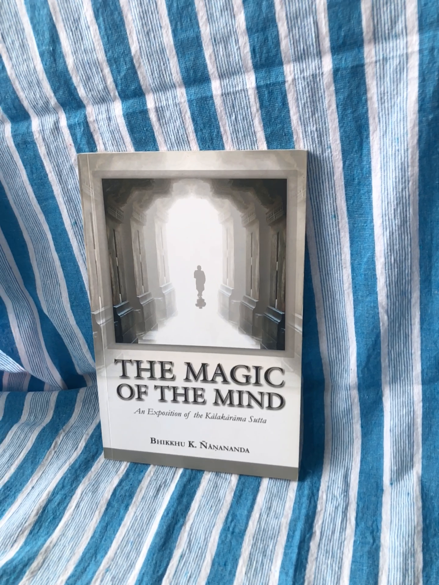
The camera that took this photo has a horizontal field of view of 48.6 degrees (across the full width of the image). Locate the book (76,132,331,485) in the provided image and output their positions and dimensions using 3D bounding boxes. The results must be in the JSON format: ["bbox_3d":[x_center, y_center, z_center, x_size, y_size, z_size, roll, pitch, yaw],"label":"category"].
[{"bbox_3d":[-0.011,0.015,0.310,0.150,0.219,0.010,2,15,11],"label":"book"}]
